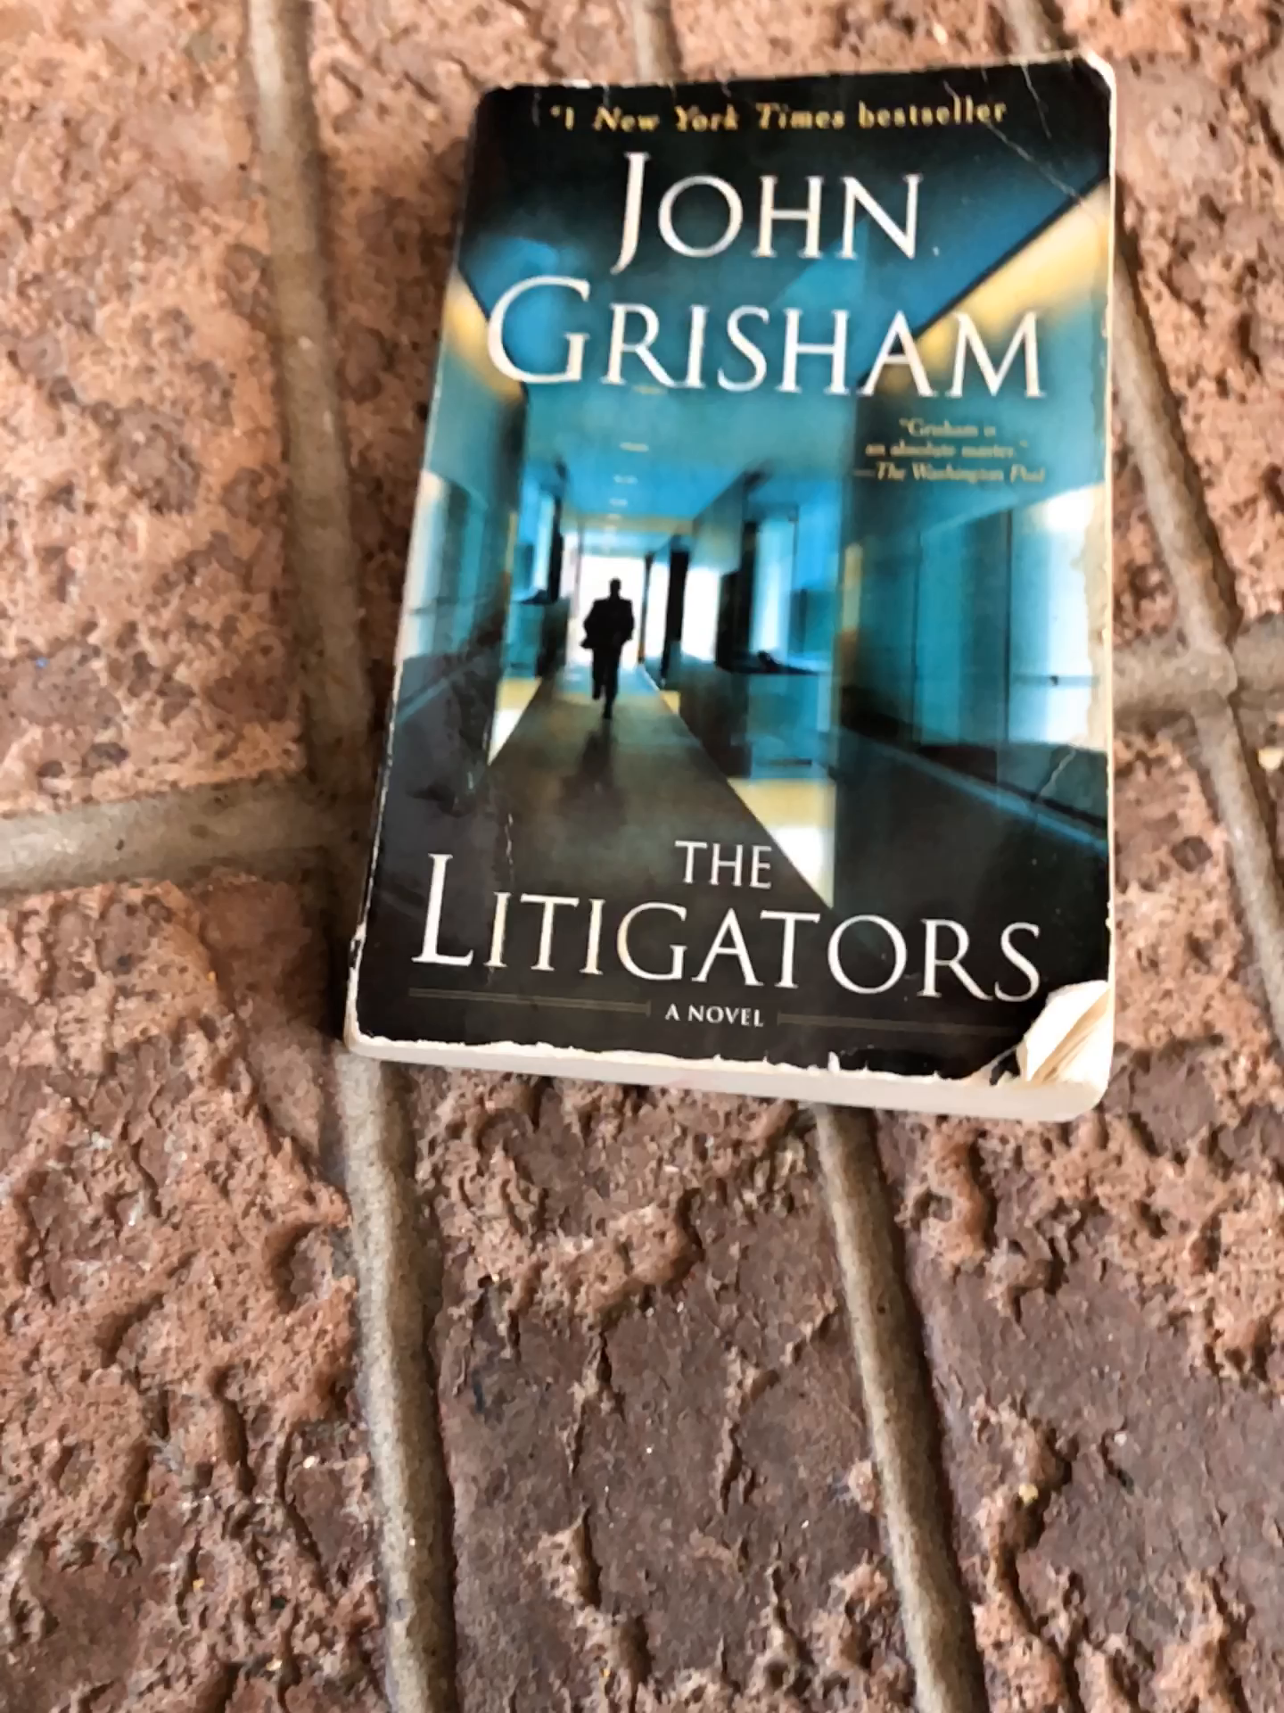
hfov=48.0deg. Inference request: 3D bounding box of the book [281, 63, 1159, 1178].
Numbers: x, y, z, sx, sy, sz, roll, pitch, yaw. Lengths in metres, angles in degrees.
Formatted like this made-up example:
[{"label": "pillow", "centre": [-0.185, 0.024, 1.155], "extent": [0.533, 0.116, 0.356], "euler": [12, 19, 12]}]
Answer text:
[{"label": "book", "centre": [0.020, -0.050, 0.267], "extent": [0.135, 0.033, 0.199], "euler": [4, 77, 9]}]
